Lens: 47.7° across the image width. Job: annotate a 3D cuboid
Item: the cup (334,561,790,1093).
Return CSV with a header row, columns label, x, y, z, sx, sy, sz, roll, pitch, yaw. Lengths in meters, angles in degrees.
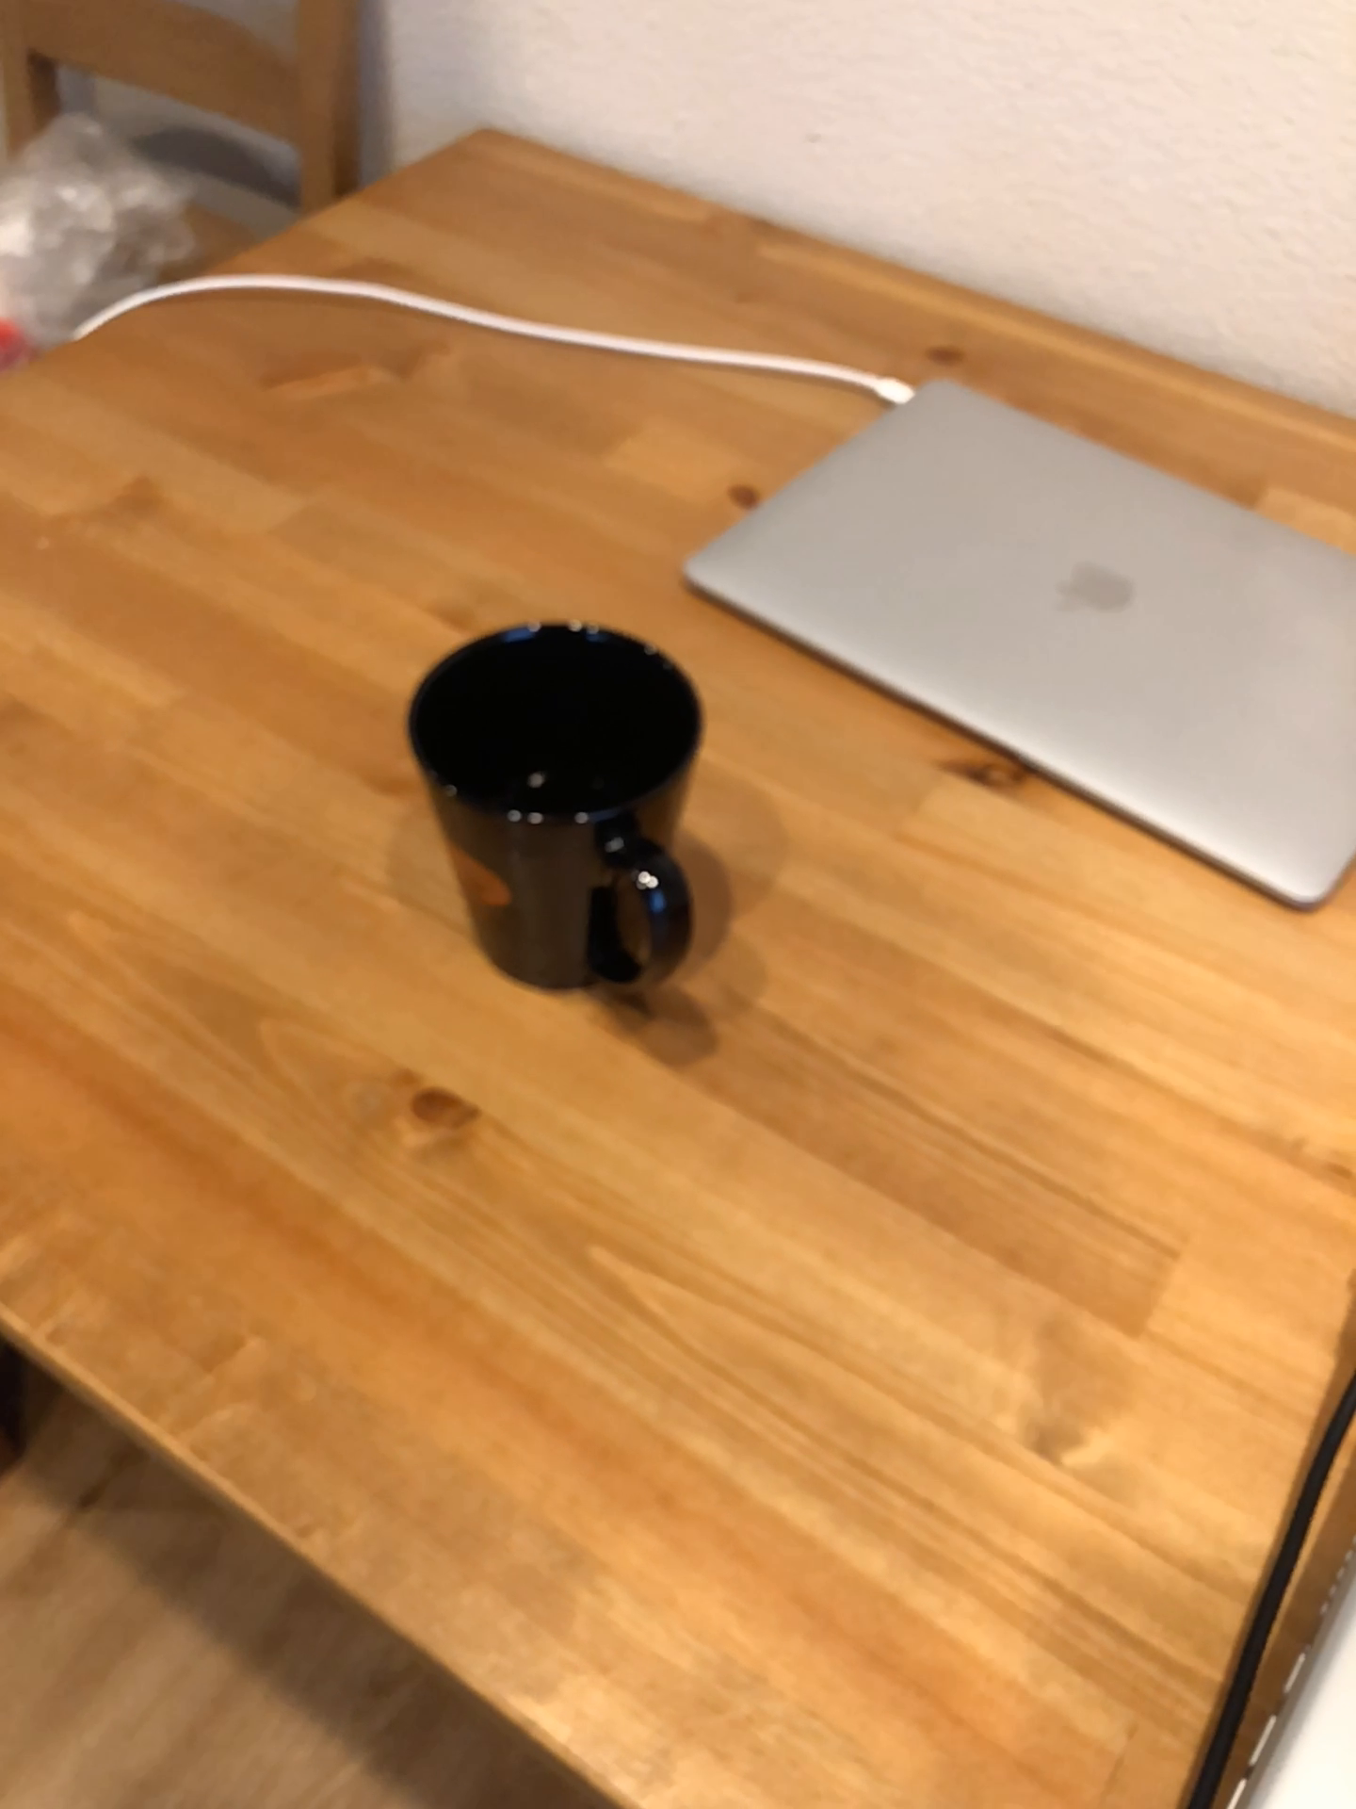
label,x,y,z,sx,sy,sz,roll,pitch,yaw
cup,-0.038,-0.028,0.487,0.090,0.090,0.120,-22,52,-21
